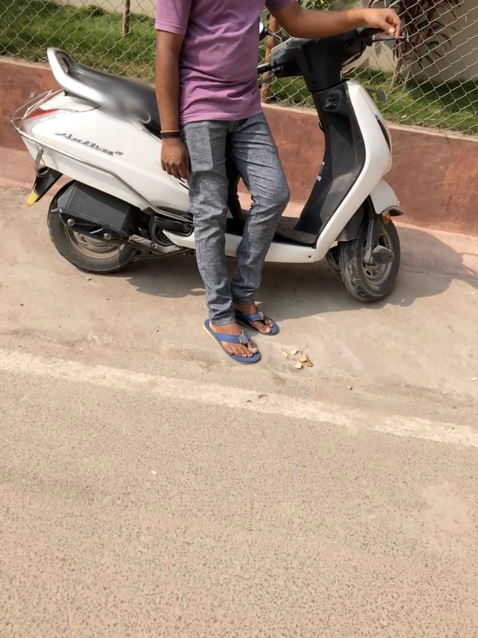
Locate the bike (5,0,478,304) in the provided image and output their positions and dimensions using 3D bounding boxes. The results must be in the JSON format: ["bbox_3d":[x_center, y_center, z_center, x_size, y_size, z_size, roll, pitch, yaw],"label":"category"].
[{"bbox_3d":[-0.005,-0.716,2.266,1.552,1.112,0.622,1,36,-9],"label":"bike"}]
